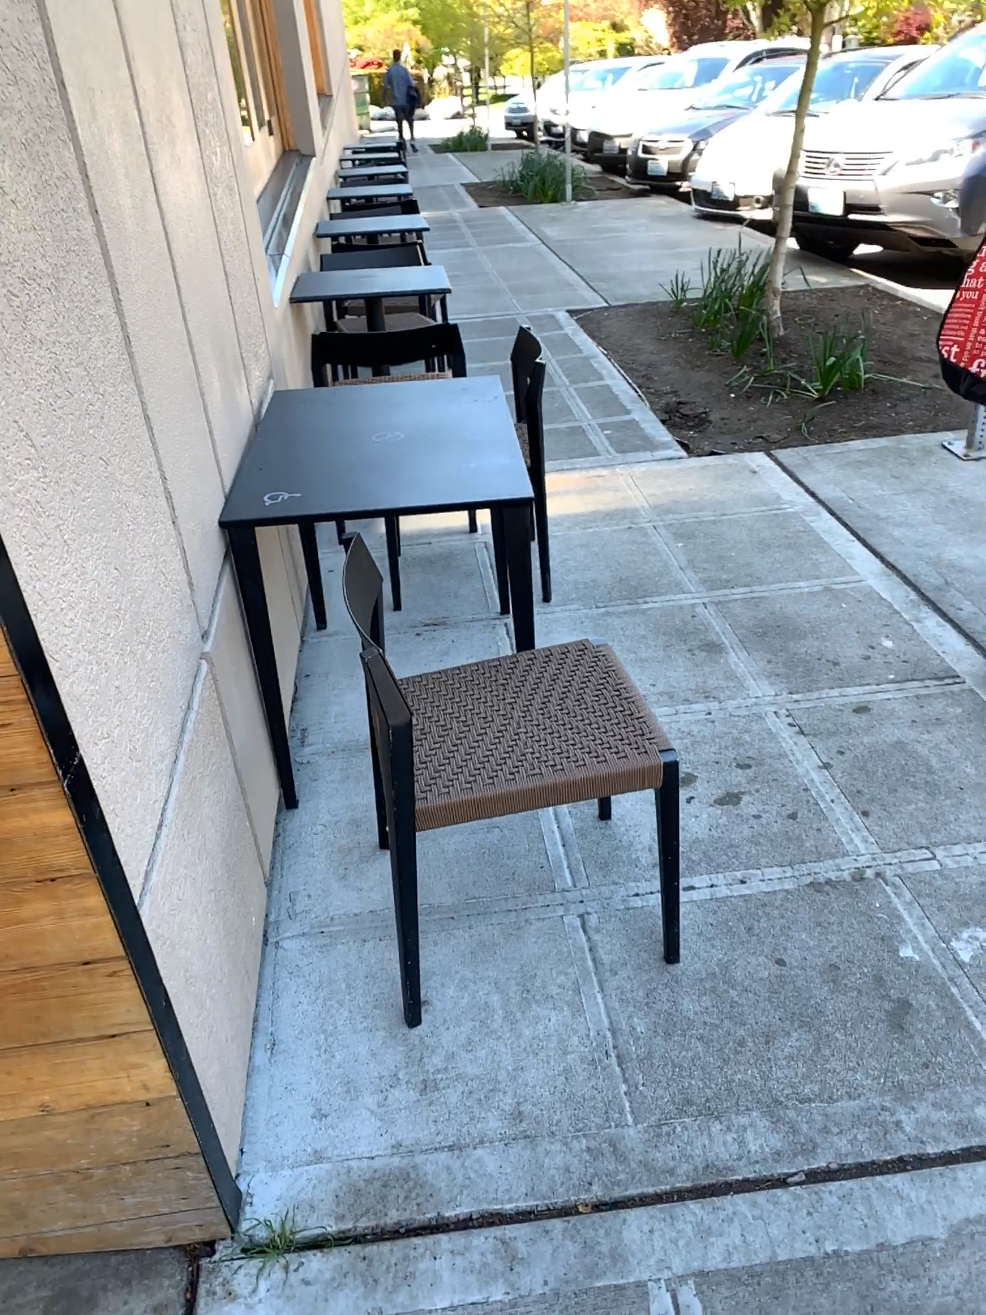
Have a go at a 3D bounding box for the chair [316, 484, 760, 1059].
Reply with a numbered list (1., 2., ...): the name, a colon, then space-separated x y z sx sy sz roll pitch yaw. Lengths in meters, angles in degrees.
1. chair: 0.045 0.167 1.674 0.550 0.666 0.553 -9 33 -7
